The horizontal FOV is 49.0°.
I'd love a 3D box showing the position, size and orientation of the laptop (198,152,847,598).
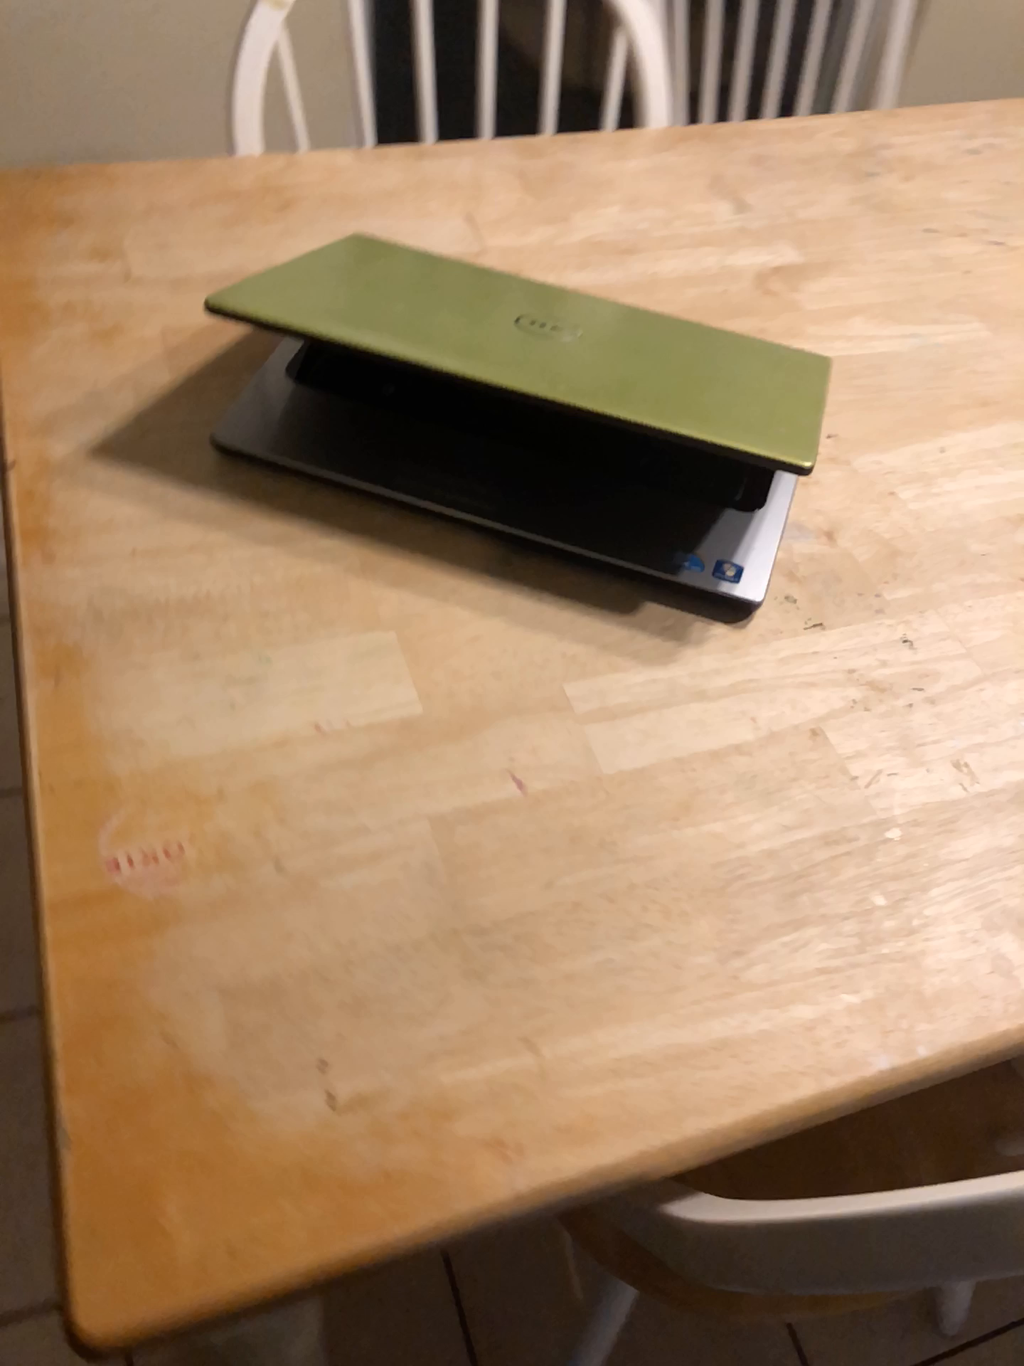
[{"bbox_3d":[0.015,-0.214,0.732,0.358,0.077,0.228,18,53,9],"label":"laptop"}]
